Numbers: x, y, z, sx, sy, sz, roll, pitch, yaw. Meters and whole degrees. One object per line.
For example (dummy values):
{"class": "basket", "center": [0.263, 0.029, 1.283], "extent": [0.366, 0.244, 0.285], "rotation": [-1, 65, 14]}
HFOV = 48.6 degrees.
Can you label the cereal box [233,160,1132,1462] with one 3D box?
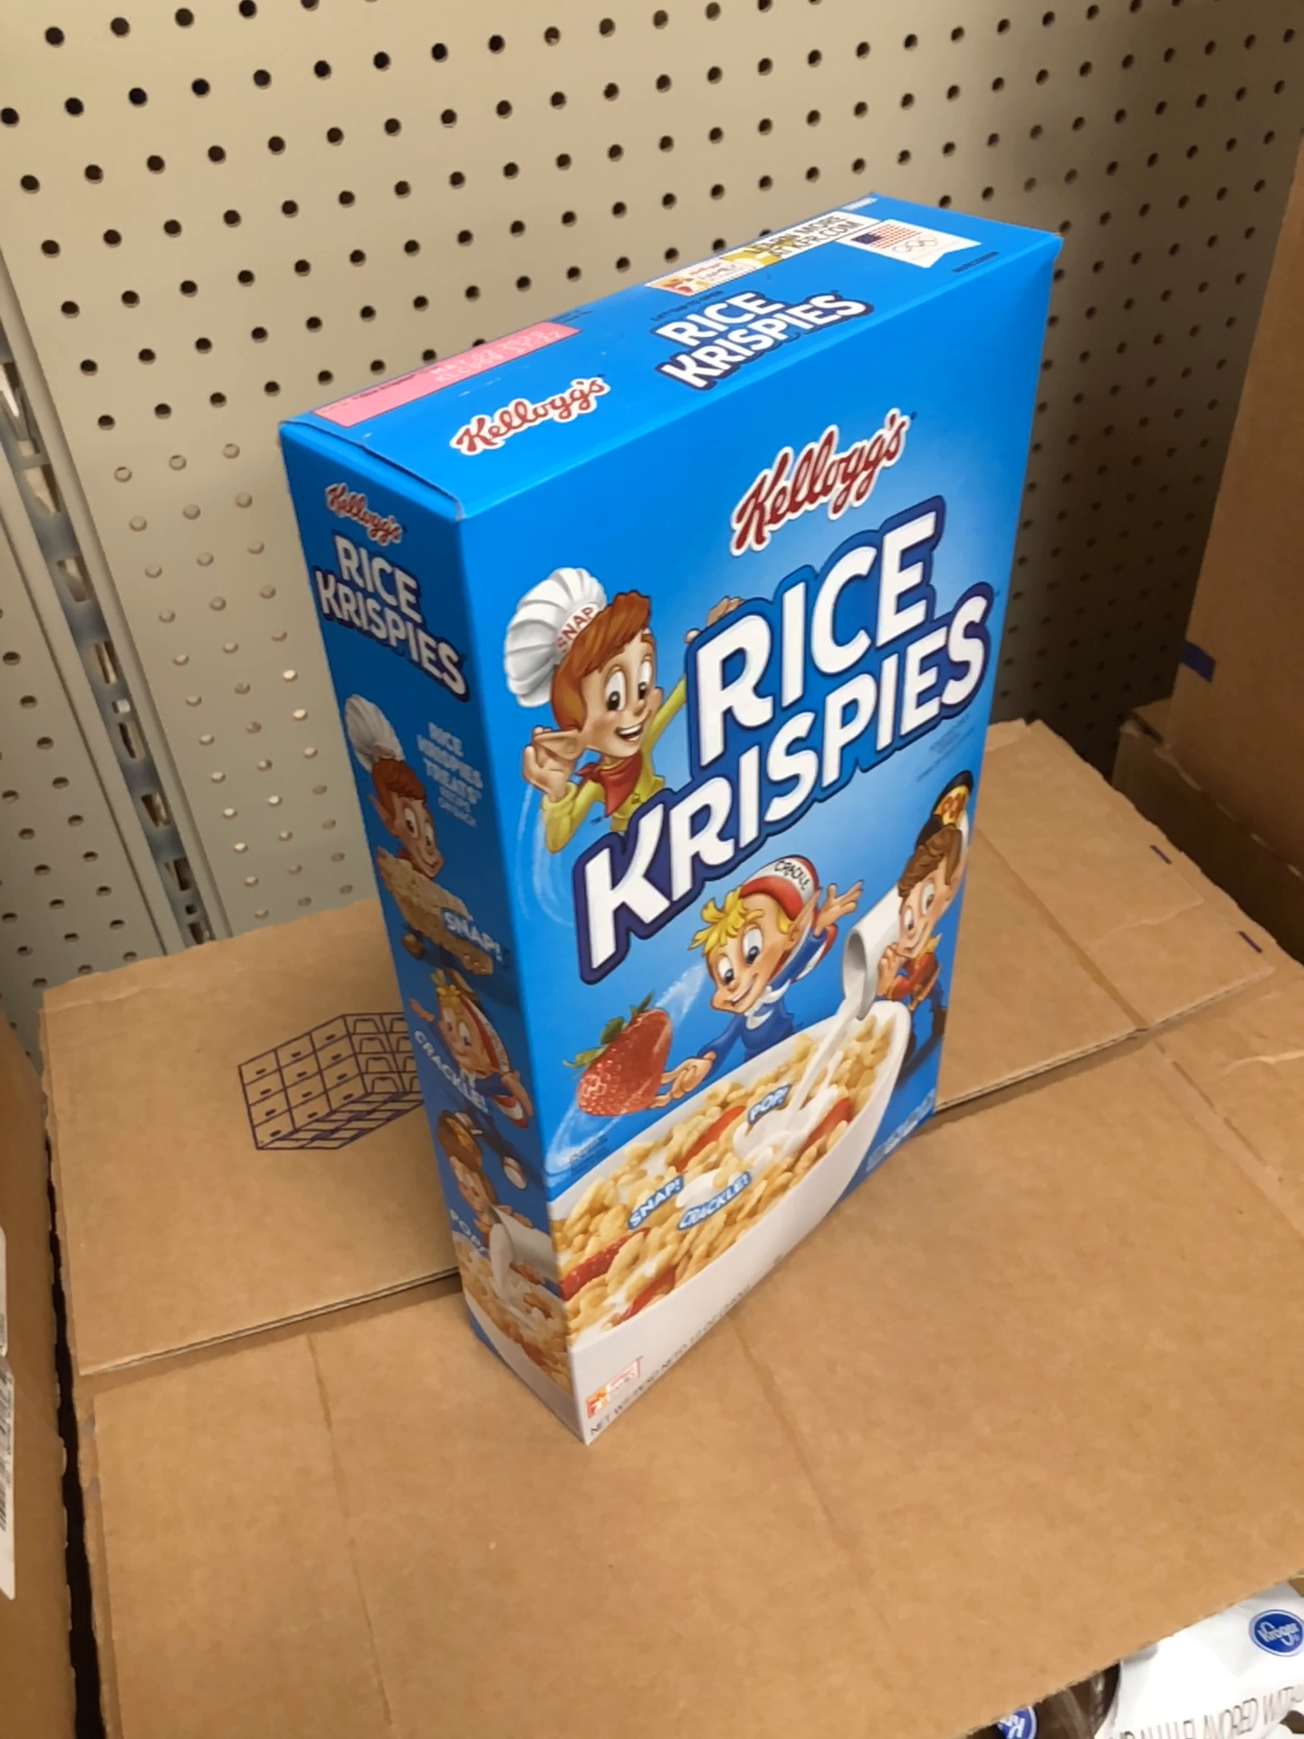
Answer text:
{"class": "cereal box", "center": [0.022, -0.001, 0.424], "extent": [0.070, 0.329, 0.210], "rotation": [33, 52, 32]}
